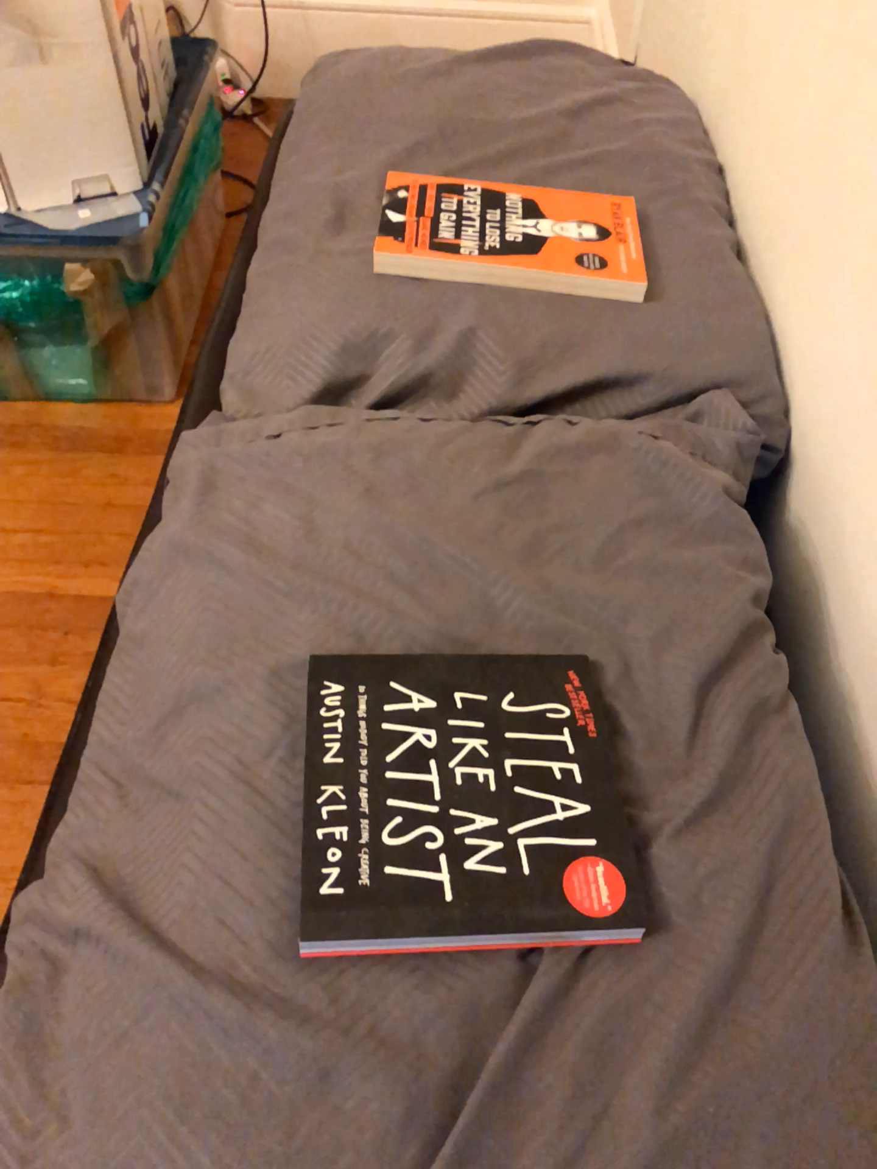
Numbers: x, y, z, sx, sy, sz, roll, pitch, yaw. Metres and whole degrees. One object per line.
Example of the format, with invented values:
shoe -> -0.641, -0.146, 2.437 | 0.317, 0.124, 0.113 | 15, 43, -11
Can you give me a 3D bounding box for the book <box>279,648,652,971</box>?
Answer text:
book -> 0.008, 0.101, 0.473 | 0.160, 0.020, 0.161 | 0, 49, -5
